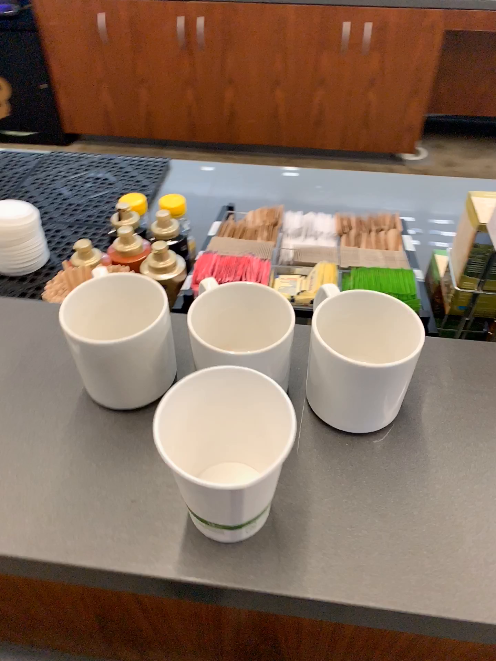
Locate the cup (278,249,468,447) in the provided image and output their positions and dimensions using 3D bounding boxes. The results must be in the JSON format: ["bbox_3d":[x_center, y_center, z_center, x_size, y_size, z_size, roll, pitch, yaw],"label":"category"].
[{"bbox_3d":[0.099,0.011,0.450,0.100,0.090,0.131,-13,46,-13],"label":"cup"}]

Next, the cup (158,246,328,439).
[{"bbox_3d":[-0.009,0.005,0.445,0.100,0.080,0.131,-15,47,-14],"label":"cup"}]

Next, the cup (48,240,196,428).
[{"bbox_3d":[-0.112,-0.002,0.451,0.090,0.080,0.131,-16,47,-15],"label":"cup"}]

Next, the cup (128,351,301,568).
[{"bbox_3d":[-0.016,0.090,0.352,0.090,0.109,0.090,0,45,0],"label":"cup"}]
